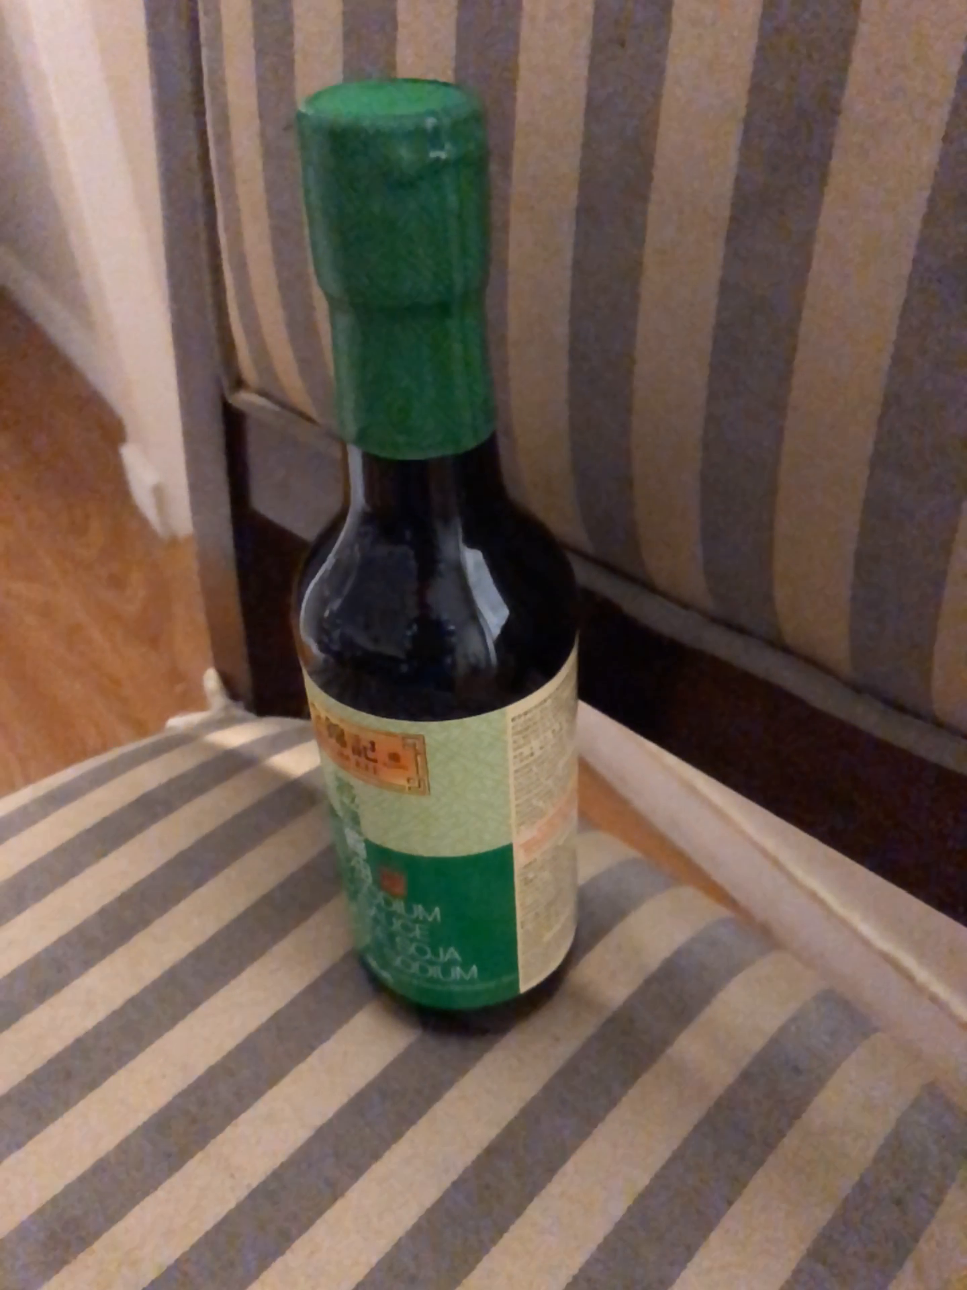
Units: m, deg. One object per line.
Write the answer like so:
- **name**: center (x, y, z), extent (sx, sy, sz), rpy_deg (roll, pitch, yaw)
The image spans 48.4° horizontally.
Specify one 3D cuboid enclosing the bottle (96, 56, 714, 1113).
- **bottle**: center (-0.009, 0.000, 0.253), extent (0.070, 0.228, 0.080), rpy_deg (-31, 46, -30)
